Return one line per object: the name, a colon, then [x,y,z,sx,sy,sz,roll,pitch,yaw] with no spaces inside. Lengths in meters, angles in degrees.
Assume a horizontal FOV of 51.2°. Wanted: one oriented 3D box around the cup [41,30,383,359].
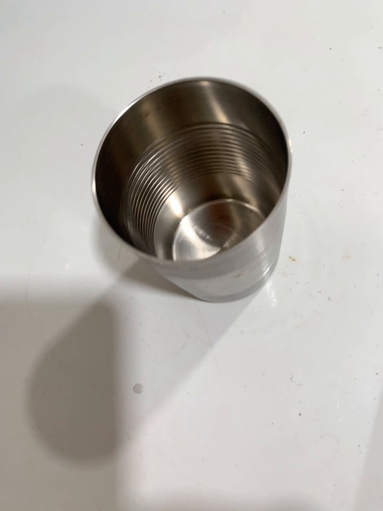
cup: [0.011,-0.012,0.159,0.070,0.096,0.070,-3,73,11]
